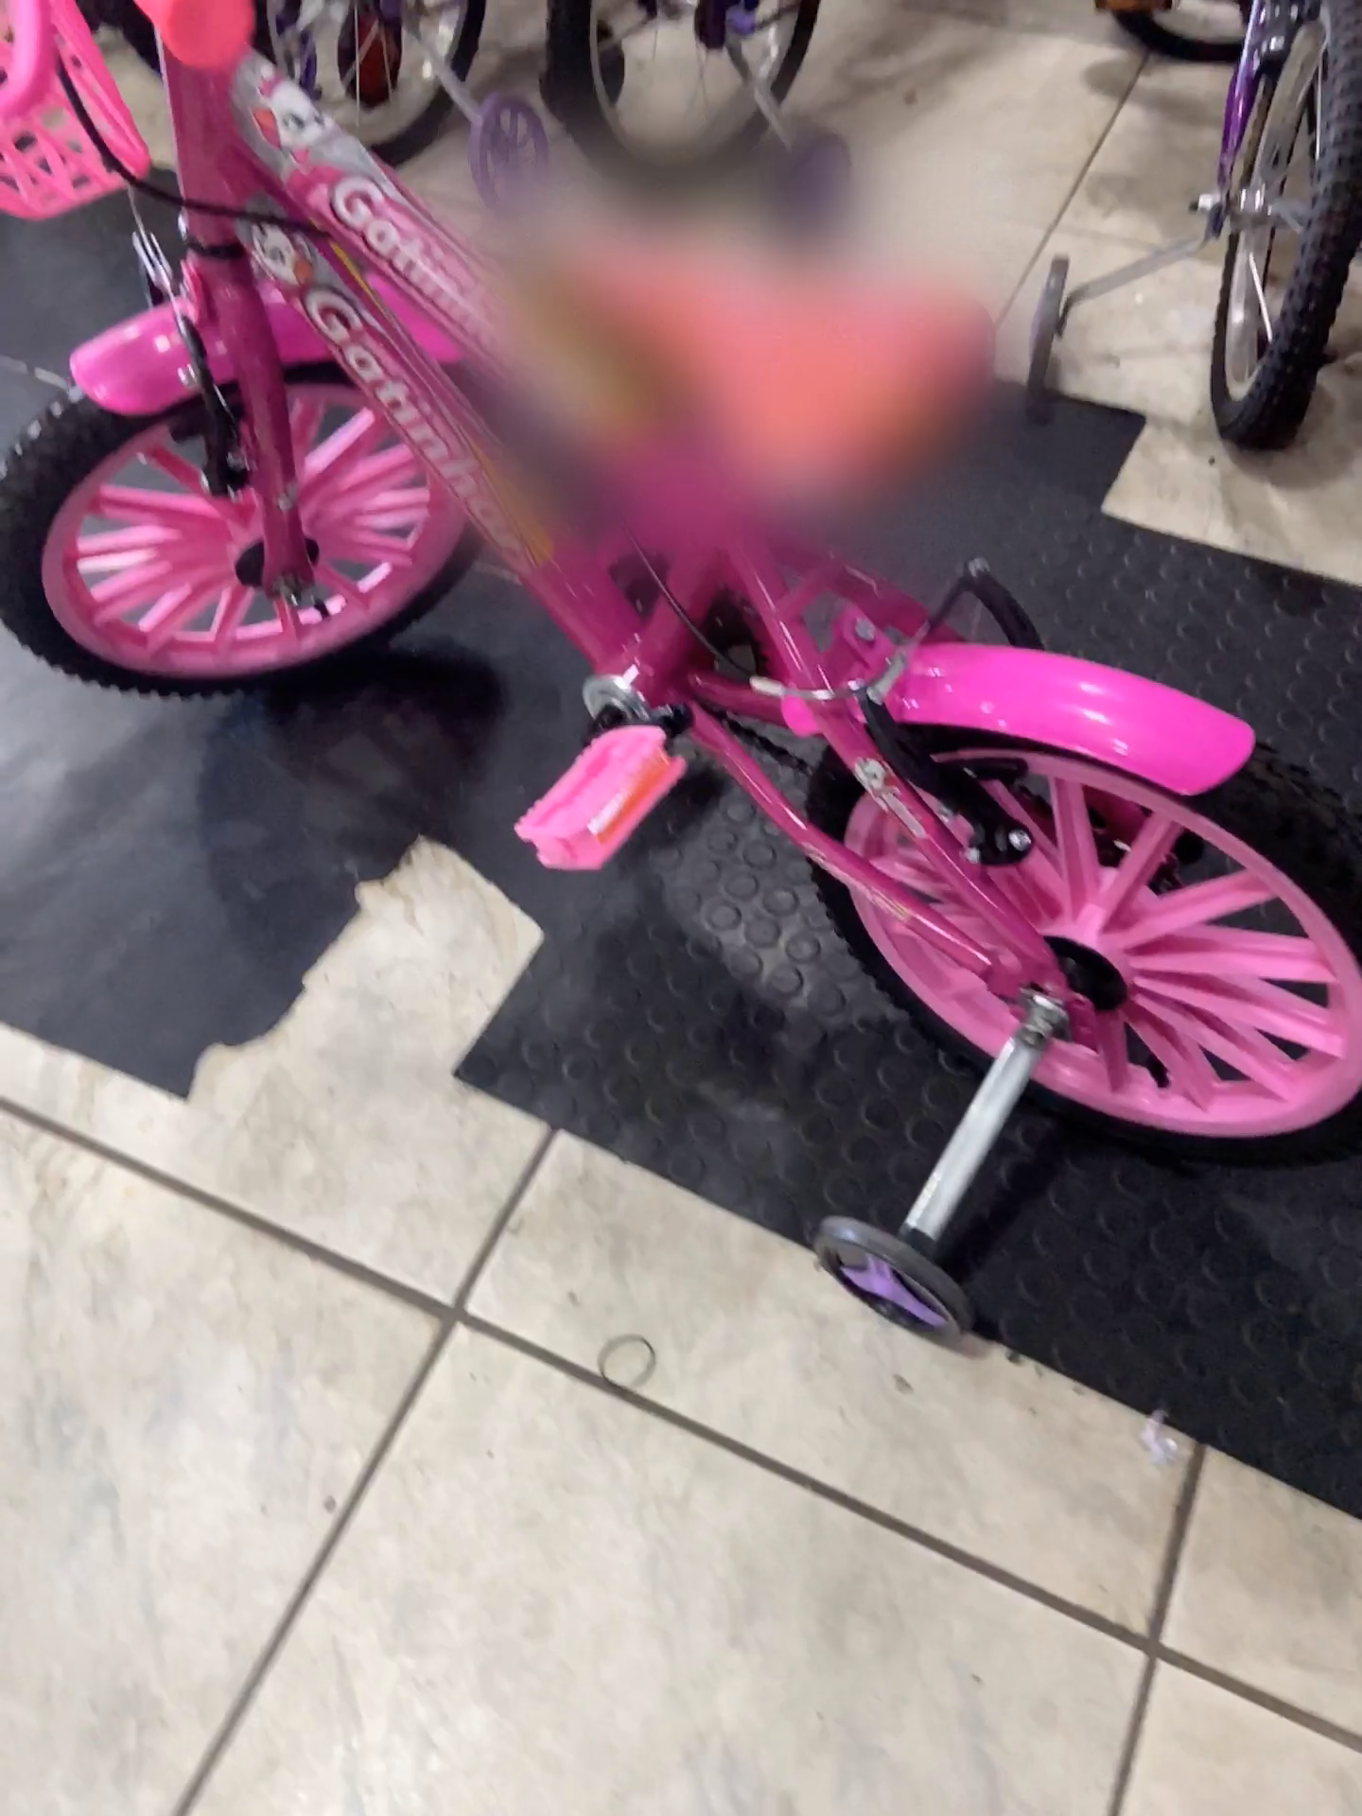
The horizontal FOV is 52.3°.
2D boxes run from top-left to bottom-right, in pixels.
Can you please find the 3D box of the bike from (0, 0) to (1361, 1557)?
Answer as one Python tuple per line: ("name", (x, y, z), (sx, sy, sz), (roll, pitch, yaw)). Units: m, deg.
("bike", (-0.057, -0.166, 0.699), (0.939, 0.789, 0.467), (20, 59, 17))
